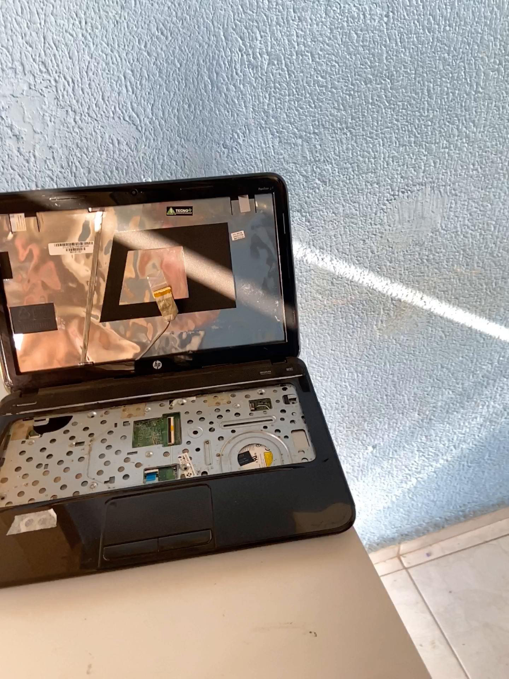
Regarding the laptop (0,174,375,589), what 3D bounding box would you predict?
[{"bbox_3d":[-0.107,0.003,0.503,0.335,0.186,0.326,-7,37,-6],"label":"laptop"}]
